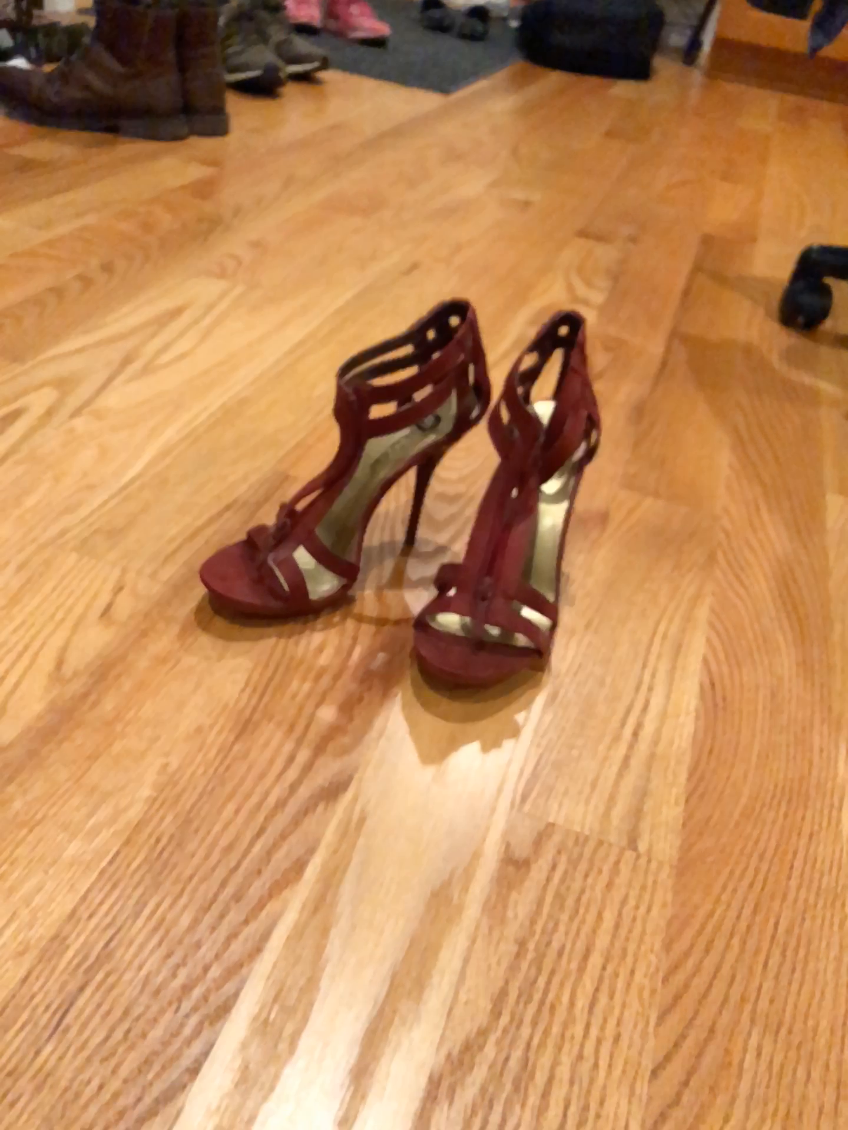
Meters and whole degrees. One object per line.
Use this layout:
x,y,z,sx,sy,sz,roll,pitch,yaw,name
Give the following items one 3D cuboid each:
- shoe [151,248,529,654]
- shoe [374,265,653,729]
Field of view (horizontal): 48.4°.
-0.049,-0.076,0.565,0.085,0.175,0.200,35,43,31,shoe
0.056,-0.049,0.545,0.085,0.175,0.208,17,36,10,shoe
